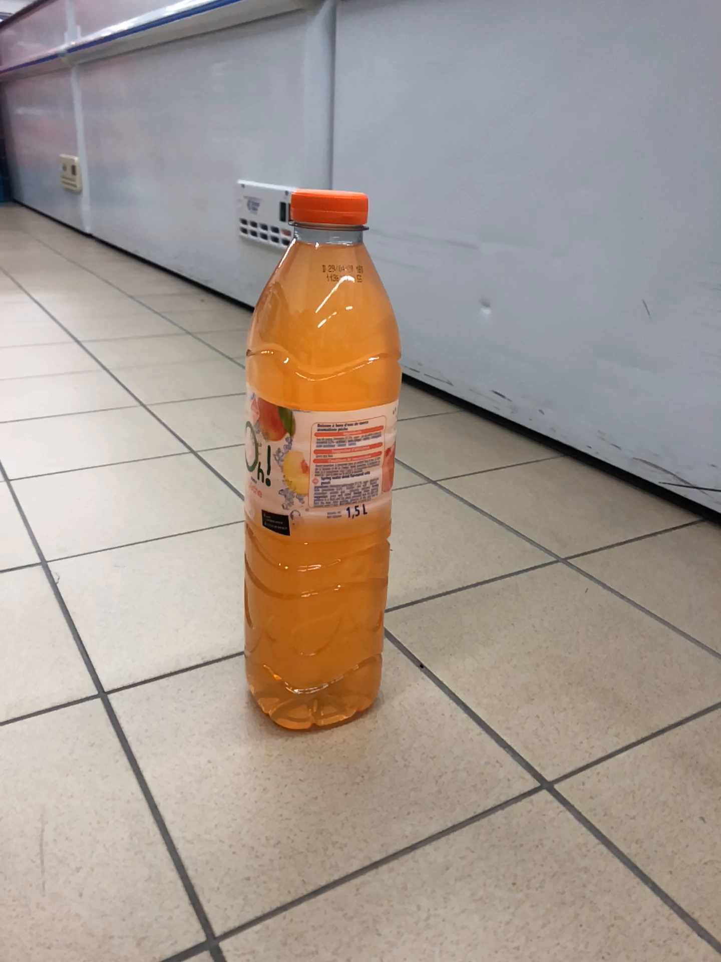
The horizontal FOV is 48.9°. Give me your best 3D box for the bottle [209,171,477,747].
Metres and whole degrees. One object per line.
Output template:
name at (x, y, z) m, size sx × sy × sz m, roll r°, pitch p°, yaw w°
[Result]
bottle at (-0.018, -0.015, 0.456) m, size 0.100 × 0.299 × 0.100 m, roll 2°, pitch 21°, yaw -1°
